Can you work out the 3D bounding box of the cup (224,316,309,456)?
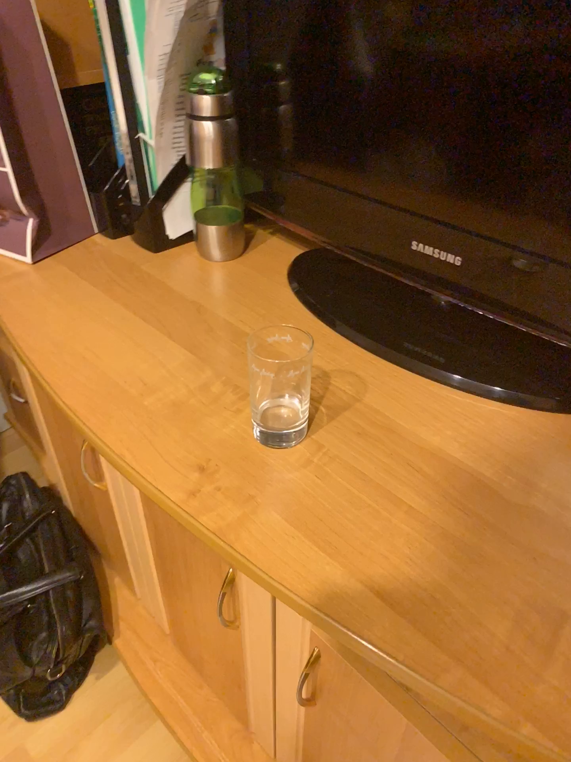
[{"bbox_3d":[-0.014,0.005,0.505,0.060,0.099,0.061,0,37,0],"label":"cup"}]
